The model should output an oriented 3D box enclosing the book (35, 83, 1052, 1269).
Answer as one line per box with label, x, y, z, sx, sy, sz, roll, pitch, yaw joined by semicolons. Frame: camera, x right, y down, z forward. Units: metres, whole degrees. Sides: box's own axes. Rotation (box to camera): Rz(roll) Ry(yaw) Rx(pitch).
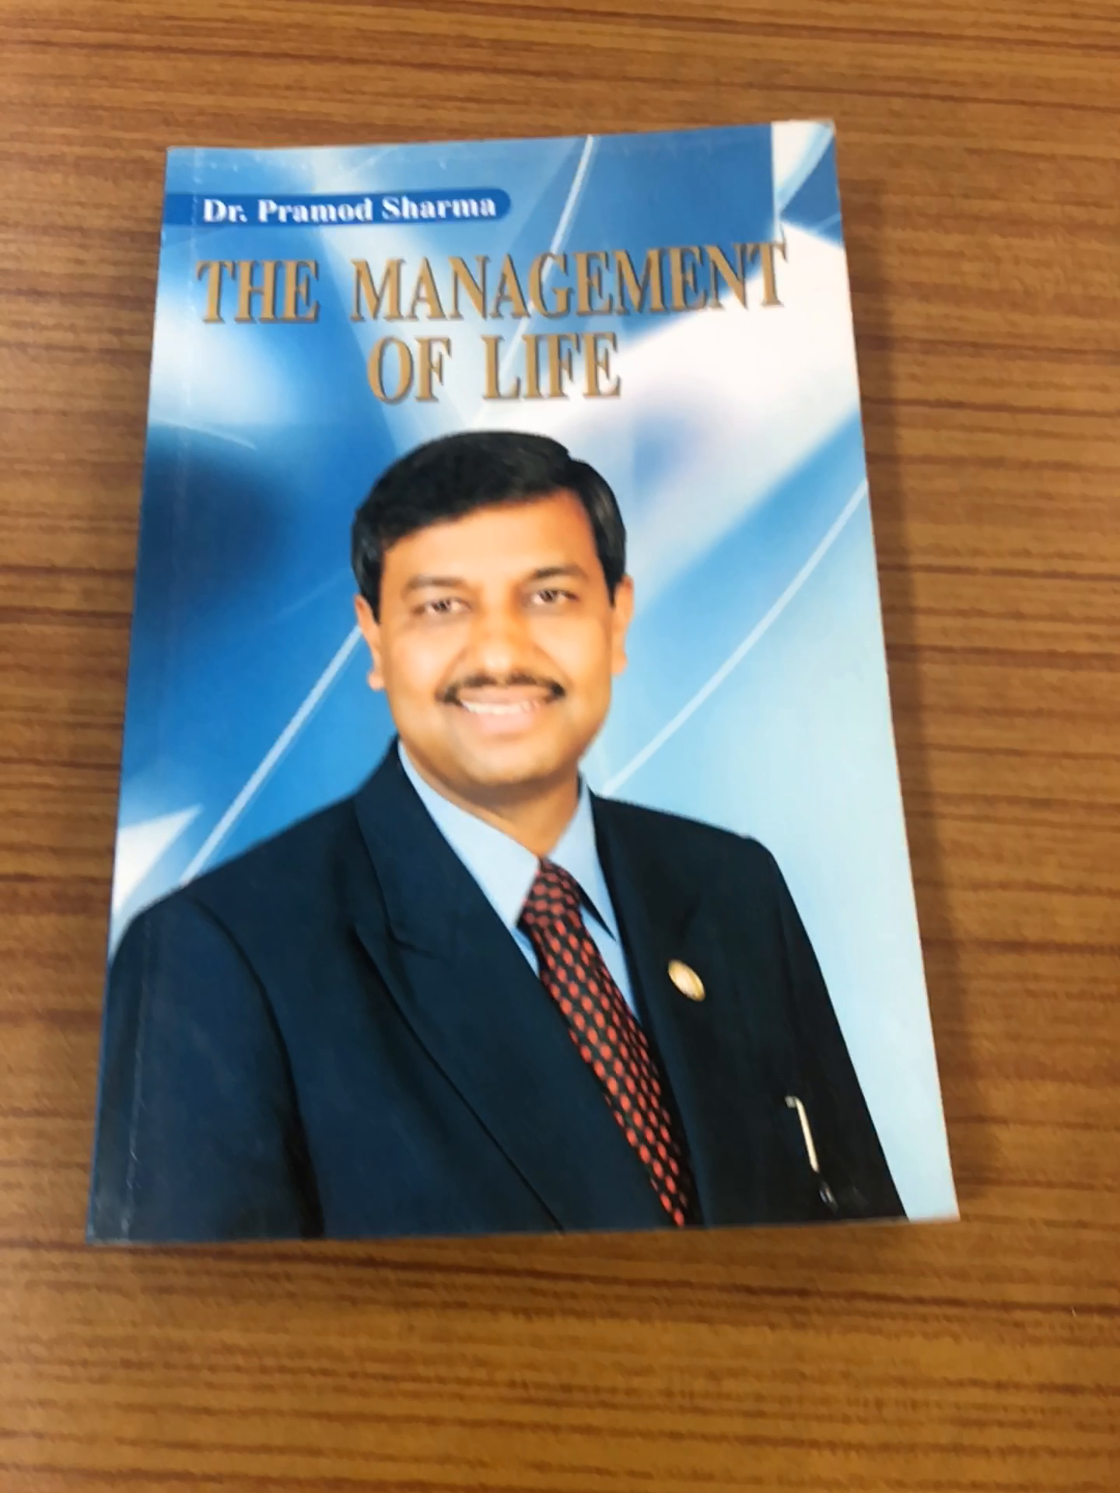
book;-0.006;-0.023;0.226;0.150;0.020;0.210;-2;73;1
